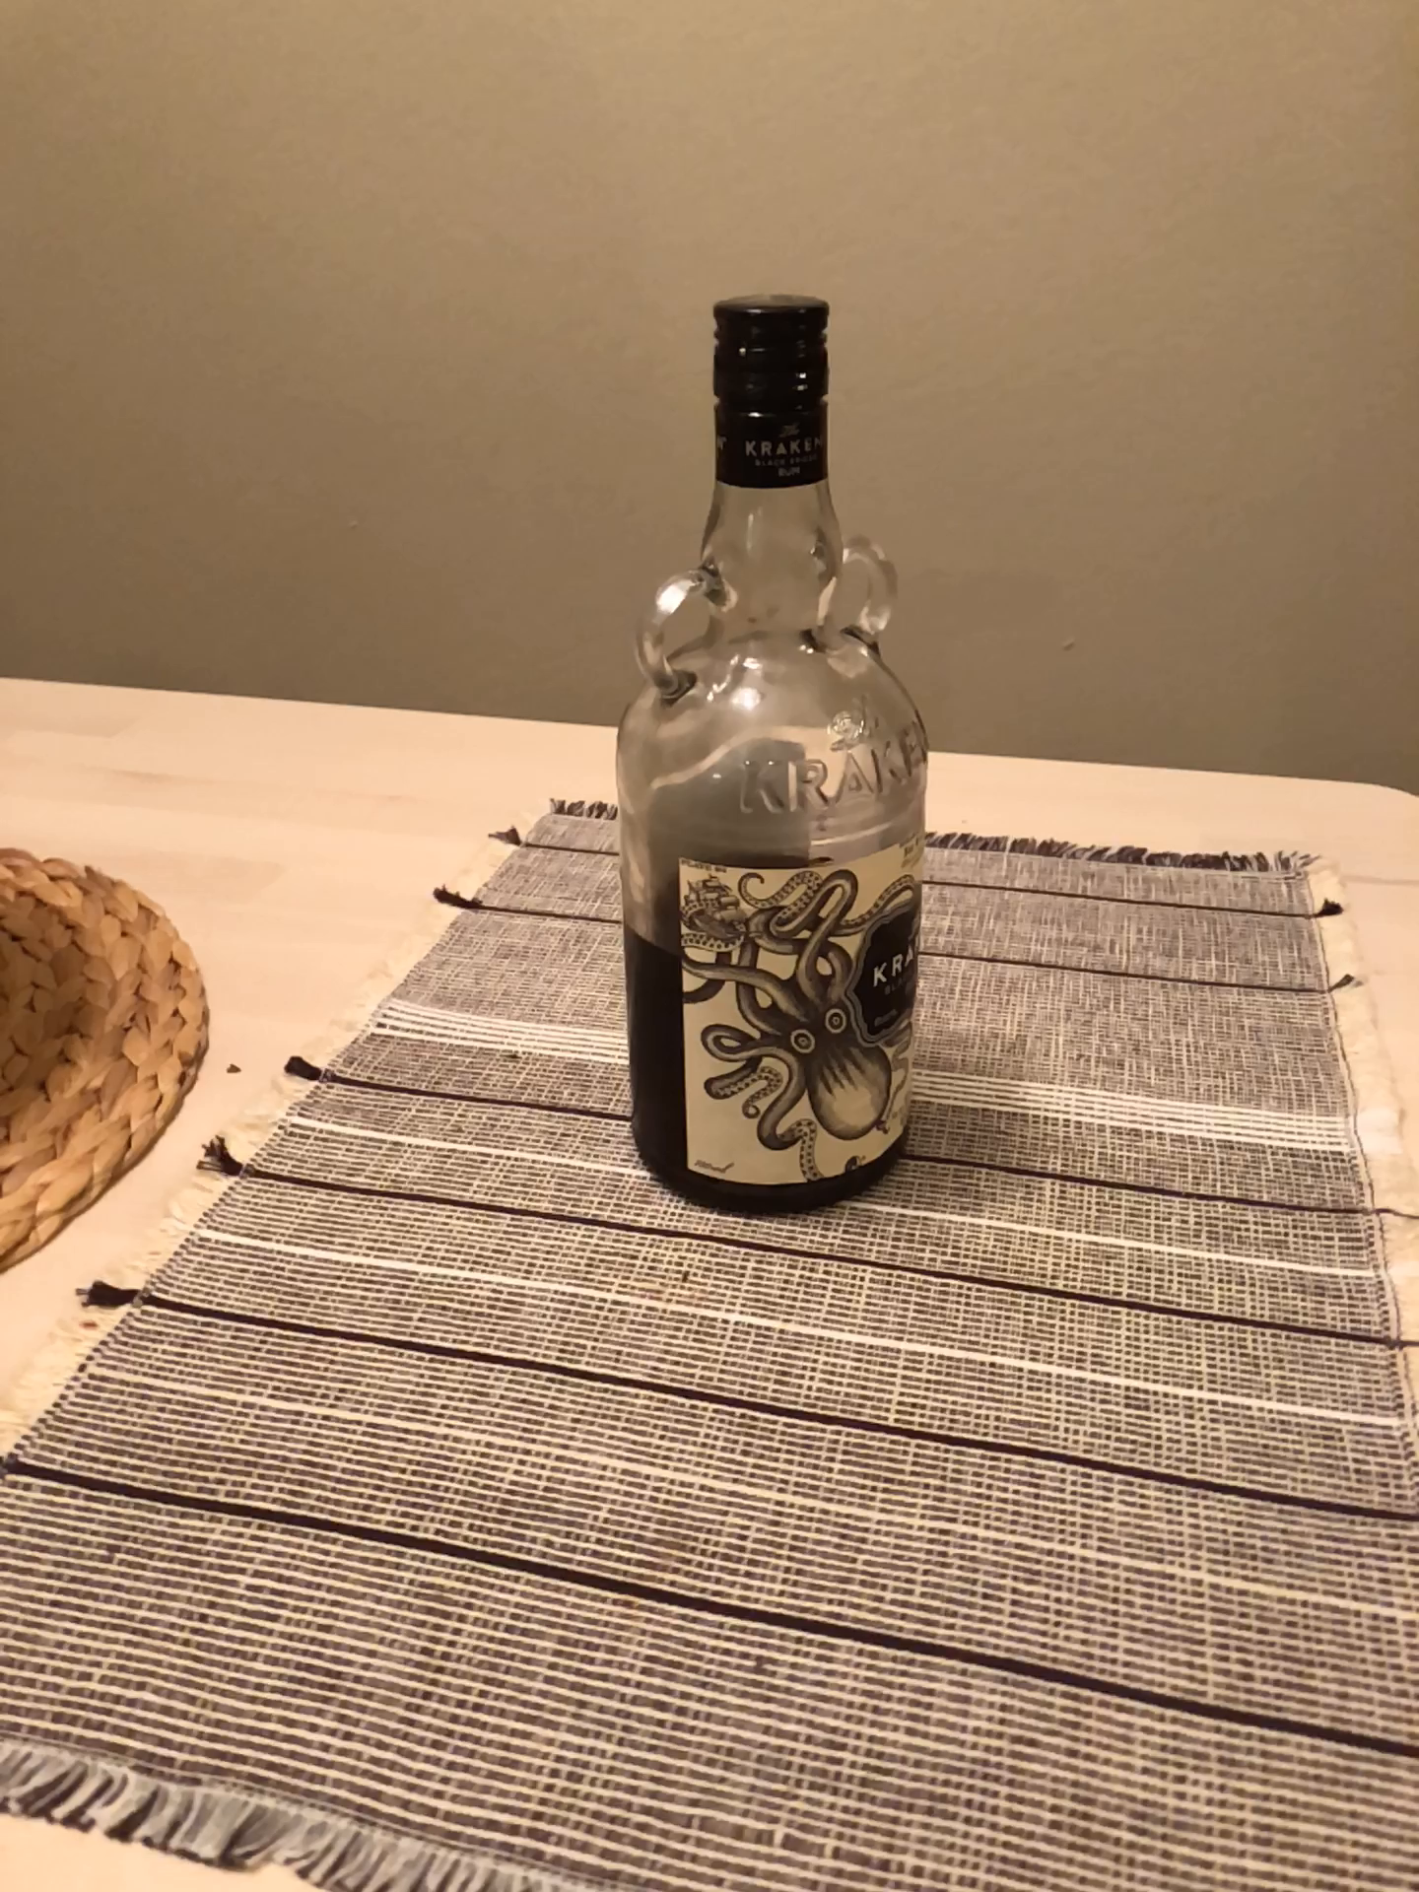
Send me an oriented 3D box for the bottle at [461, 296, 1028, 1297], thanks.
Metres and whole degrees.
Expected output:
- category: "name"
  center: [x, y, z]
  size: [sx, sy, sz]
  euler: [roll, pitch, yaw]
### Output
- category: "bottle"
  center: [0.011, -0.045, 0.446]
  size: [0.100, 0.249, 0.100]
  euler: [-1, 27, 0]
